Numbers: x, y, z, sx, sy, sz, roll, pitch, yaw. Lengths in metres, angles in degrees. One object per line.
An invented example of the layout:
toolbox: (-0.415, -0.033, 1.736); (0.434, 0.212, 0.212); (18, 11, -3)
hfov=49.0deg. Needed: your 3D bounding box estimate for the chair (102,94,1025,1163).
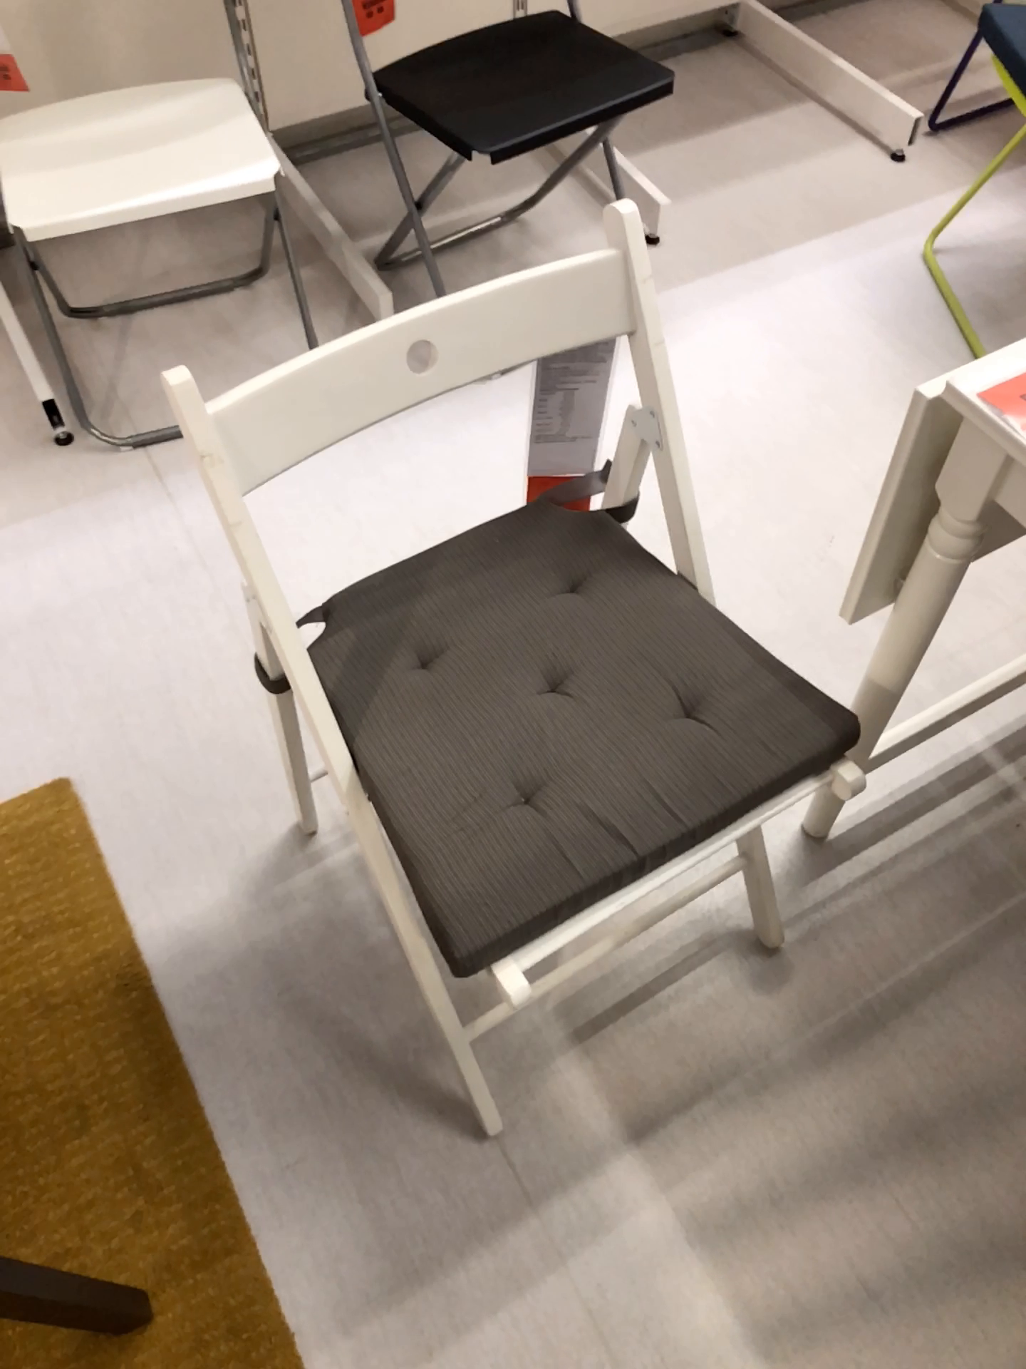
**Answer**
chair: (0.041, 0.003, 0.963); (0.441, 0.696, 0.452); (-27, 59, -18)
